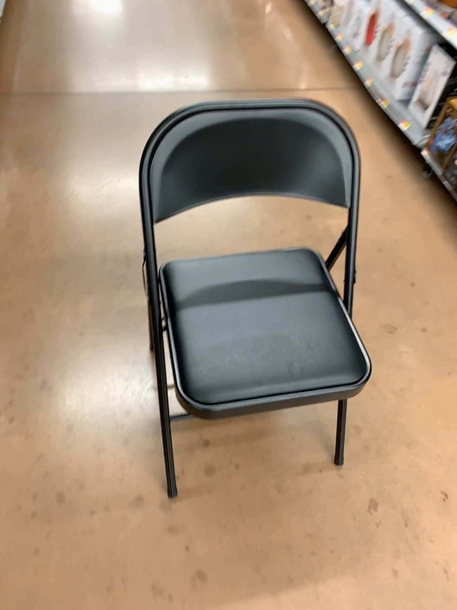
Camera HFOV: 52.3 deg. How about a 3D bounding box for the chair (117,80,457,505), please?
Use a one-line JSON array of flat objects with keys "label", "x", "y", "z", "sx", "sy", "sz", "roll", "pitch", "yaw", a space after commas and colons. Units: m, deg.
[{"label": "chair", "x": 0.067, "y": 0.014, "z": 0.937, "sx": 0.470, "sy": 0.697, "sz": 0.472, "roll": -7, "pitch": 53, "yaw": -11}]
